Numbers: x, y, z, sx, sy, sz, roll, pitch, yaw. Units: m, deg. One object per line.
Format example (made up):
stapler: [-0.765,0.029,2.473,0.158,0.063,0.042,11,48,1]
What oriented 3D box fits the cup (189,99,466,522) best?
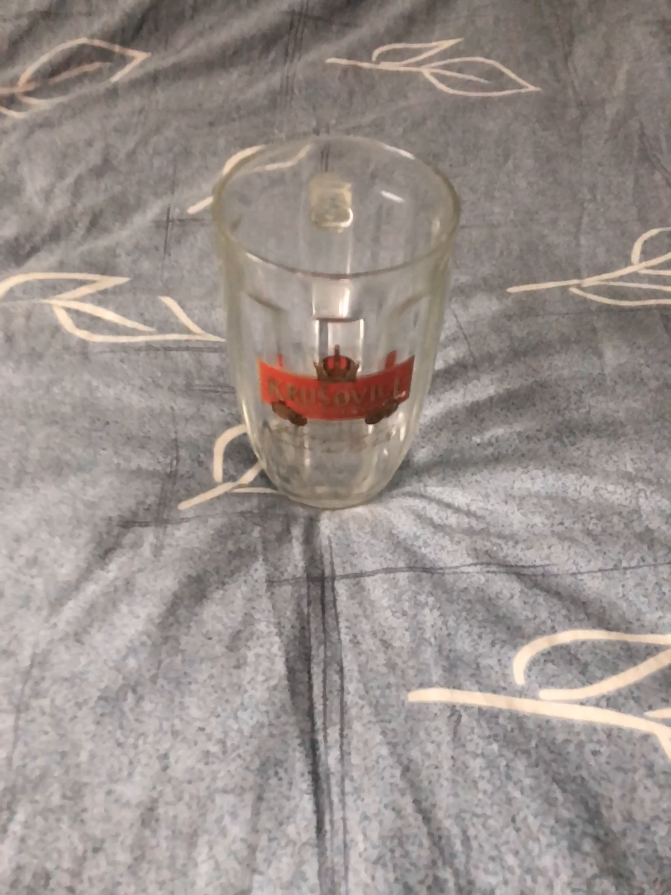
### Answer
cup: [-0.002,-0.061,0.334,0.091,0.136,0.128,-3,47,1]
